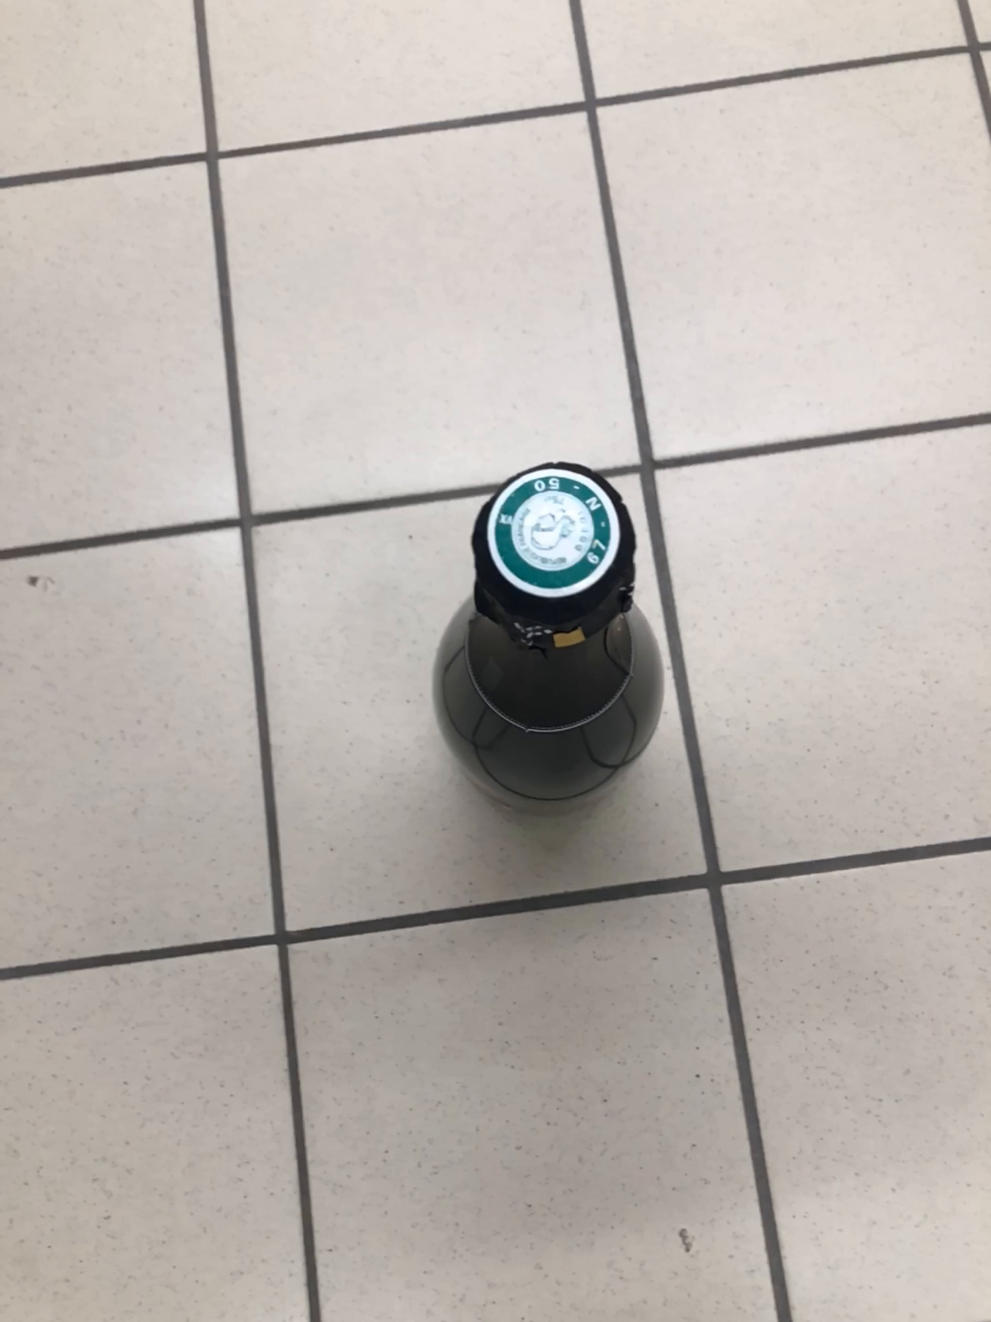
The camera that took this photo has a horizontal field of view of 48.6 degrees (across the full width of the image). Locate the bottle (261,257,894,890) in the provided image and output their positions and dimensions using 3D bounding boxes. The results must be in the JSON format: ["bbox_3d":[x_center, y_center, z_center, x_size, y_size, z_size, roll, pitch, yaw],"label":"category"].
[{"bbox_3d":[0.020,0.008,0.369,0.090,0.310,0.100,-26,79,-3],"label":"bottle"}]
